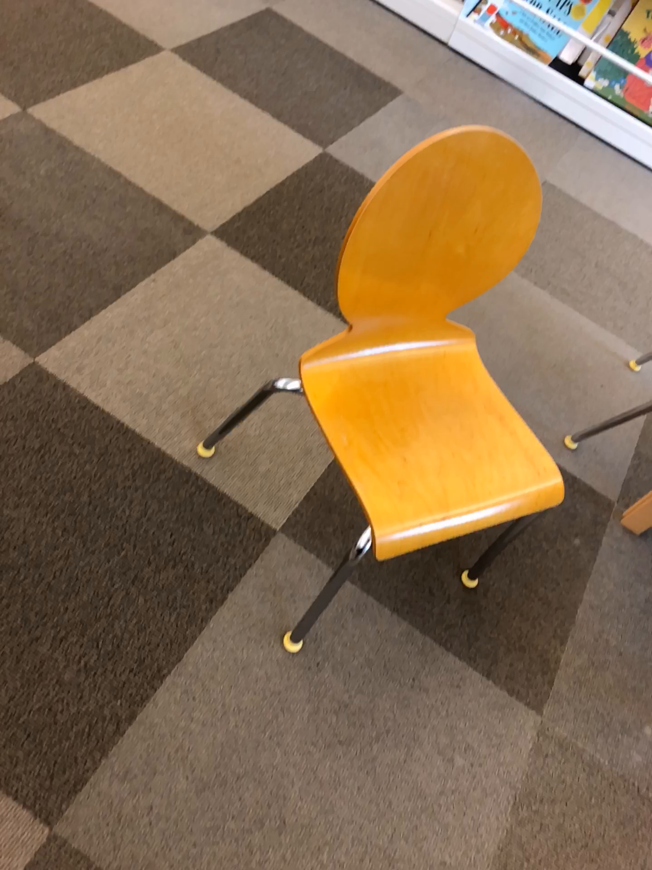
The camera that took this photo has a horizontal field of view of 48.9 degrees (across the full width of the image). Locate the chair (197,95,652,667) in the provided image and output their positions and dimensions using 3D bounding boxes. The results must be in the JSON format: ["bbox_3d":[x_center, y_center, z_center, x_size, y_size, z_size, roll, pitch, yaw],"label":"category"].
[{"bbox_3d":[0.150,-0.050,1.139,0.466,0.722,0.471,-11,59,-28],"label":"chair"}]
